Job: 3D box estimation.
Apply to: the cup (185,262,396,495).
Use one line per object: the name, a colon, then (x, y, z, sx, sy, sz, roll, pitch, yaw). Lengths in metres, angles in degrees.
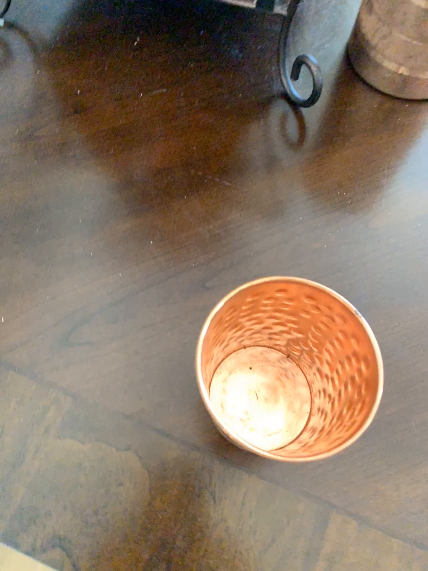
cup: (0.029, 0.046, 0.199, 0.066, 0.083, 0.070, 1, 67, -2)
